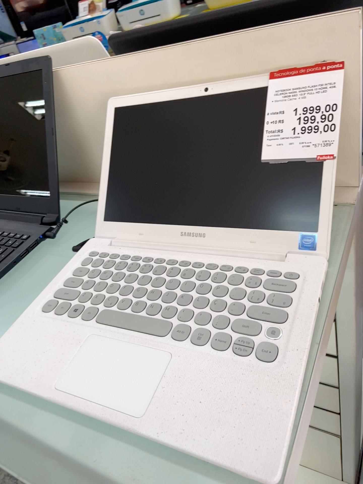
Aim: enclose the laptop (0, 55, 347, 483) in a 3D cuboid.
[{"bbox_3d":[-0.022,-0.030,0.388,0.314,0.140,0.361,4,43,29],"label":"laptop"}]
